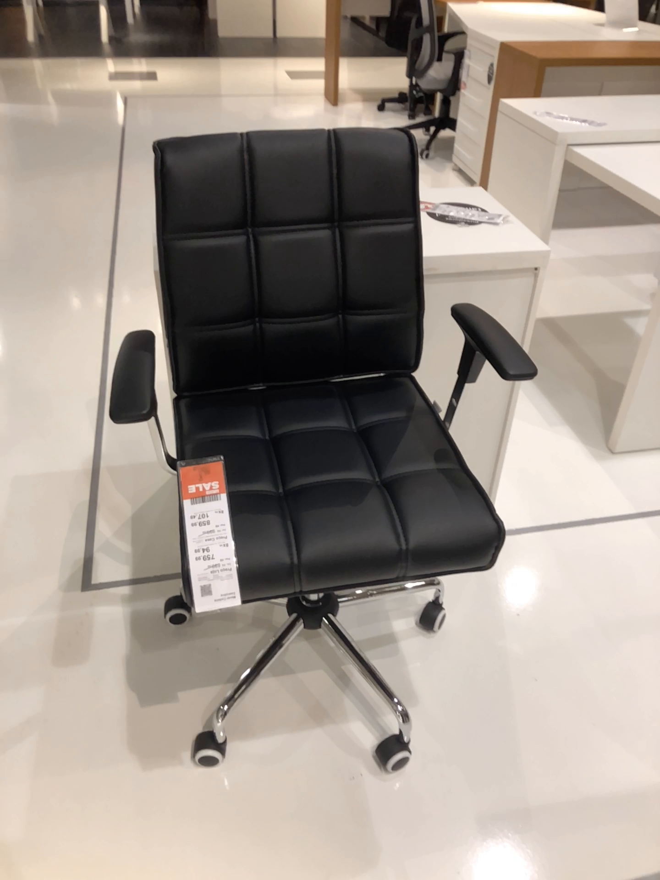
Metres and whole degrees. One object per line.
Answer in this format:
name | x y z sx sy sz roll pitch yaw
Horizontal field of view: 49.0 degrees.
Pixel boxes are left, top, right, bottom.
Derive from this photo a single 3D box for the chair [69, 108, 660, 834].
chair | -0.034 0.010 1.256 0.620 0.913 0.745 -8 37 -13
